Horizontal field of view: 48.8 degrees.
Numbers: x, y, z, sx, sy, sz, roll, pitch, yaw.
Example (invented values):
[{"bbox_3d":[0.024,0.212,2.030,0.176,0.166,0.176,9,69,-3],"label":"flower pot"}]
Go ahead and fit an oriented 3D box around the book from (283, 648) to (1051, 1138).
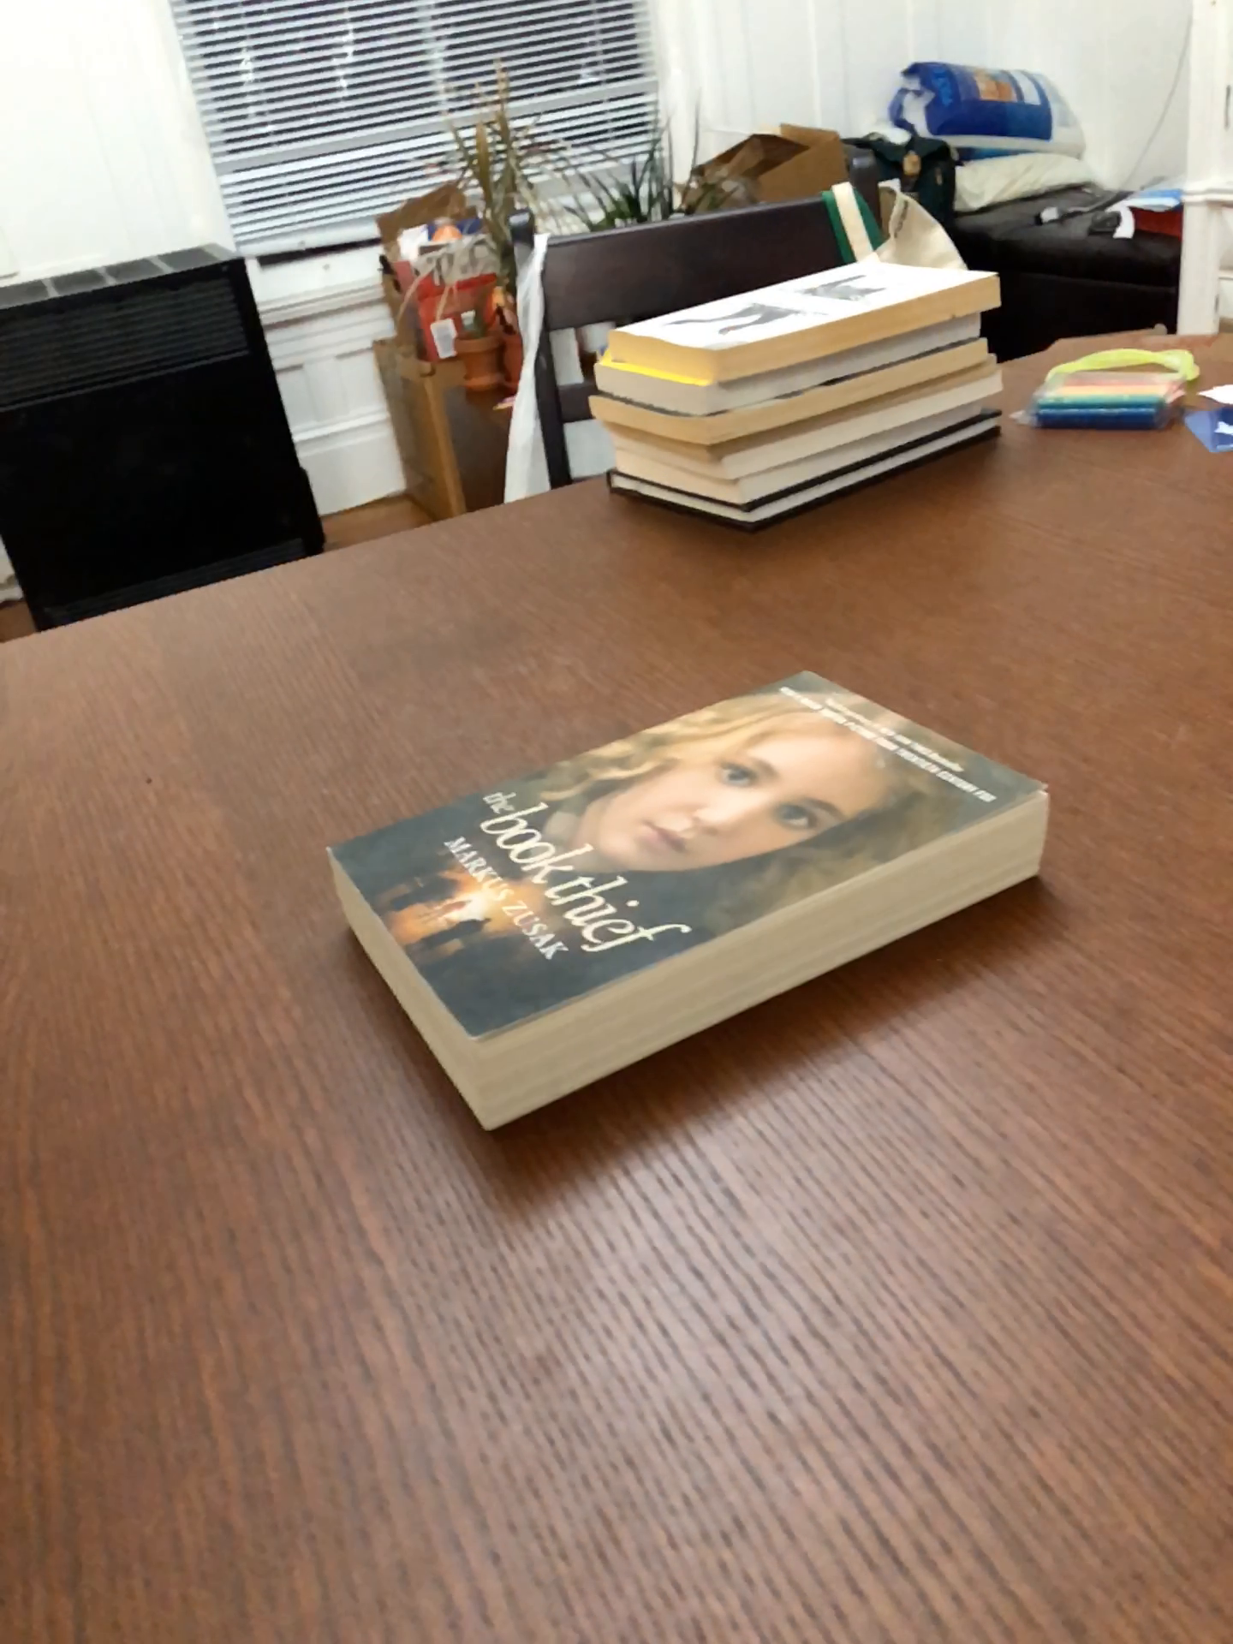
[{"bbox_3d":[0.013,0.008,0.472,0.220,0.030,0.151,-22,32,-19],"label":"book"}]
